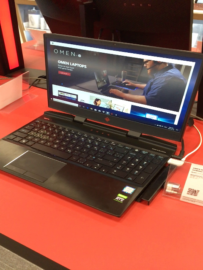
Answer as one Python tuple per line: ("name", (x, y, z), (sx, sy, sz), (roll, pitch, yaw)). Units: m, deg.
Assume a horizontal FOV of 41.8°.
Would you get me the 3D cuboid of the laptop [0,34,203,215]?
("laptop", (-0.049, -0.051, 0.559), (0.381, 0.220, 0.290), (19, 44, 25))
